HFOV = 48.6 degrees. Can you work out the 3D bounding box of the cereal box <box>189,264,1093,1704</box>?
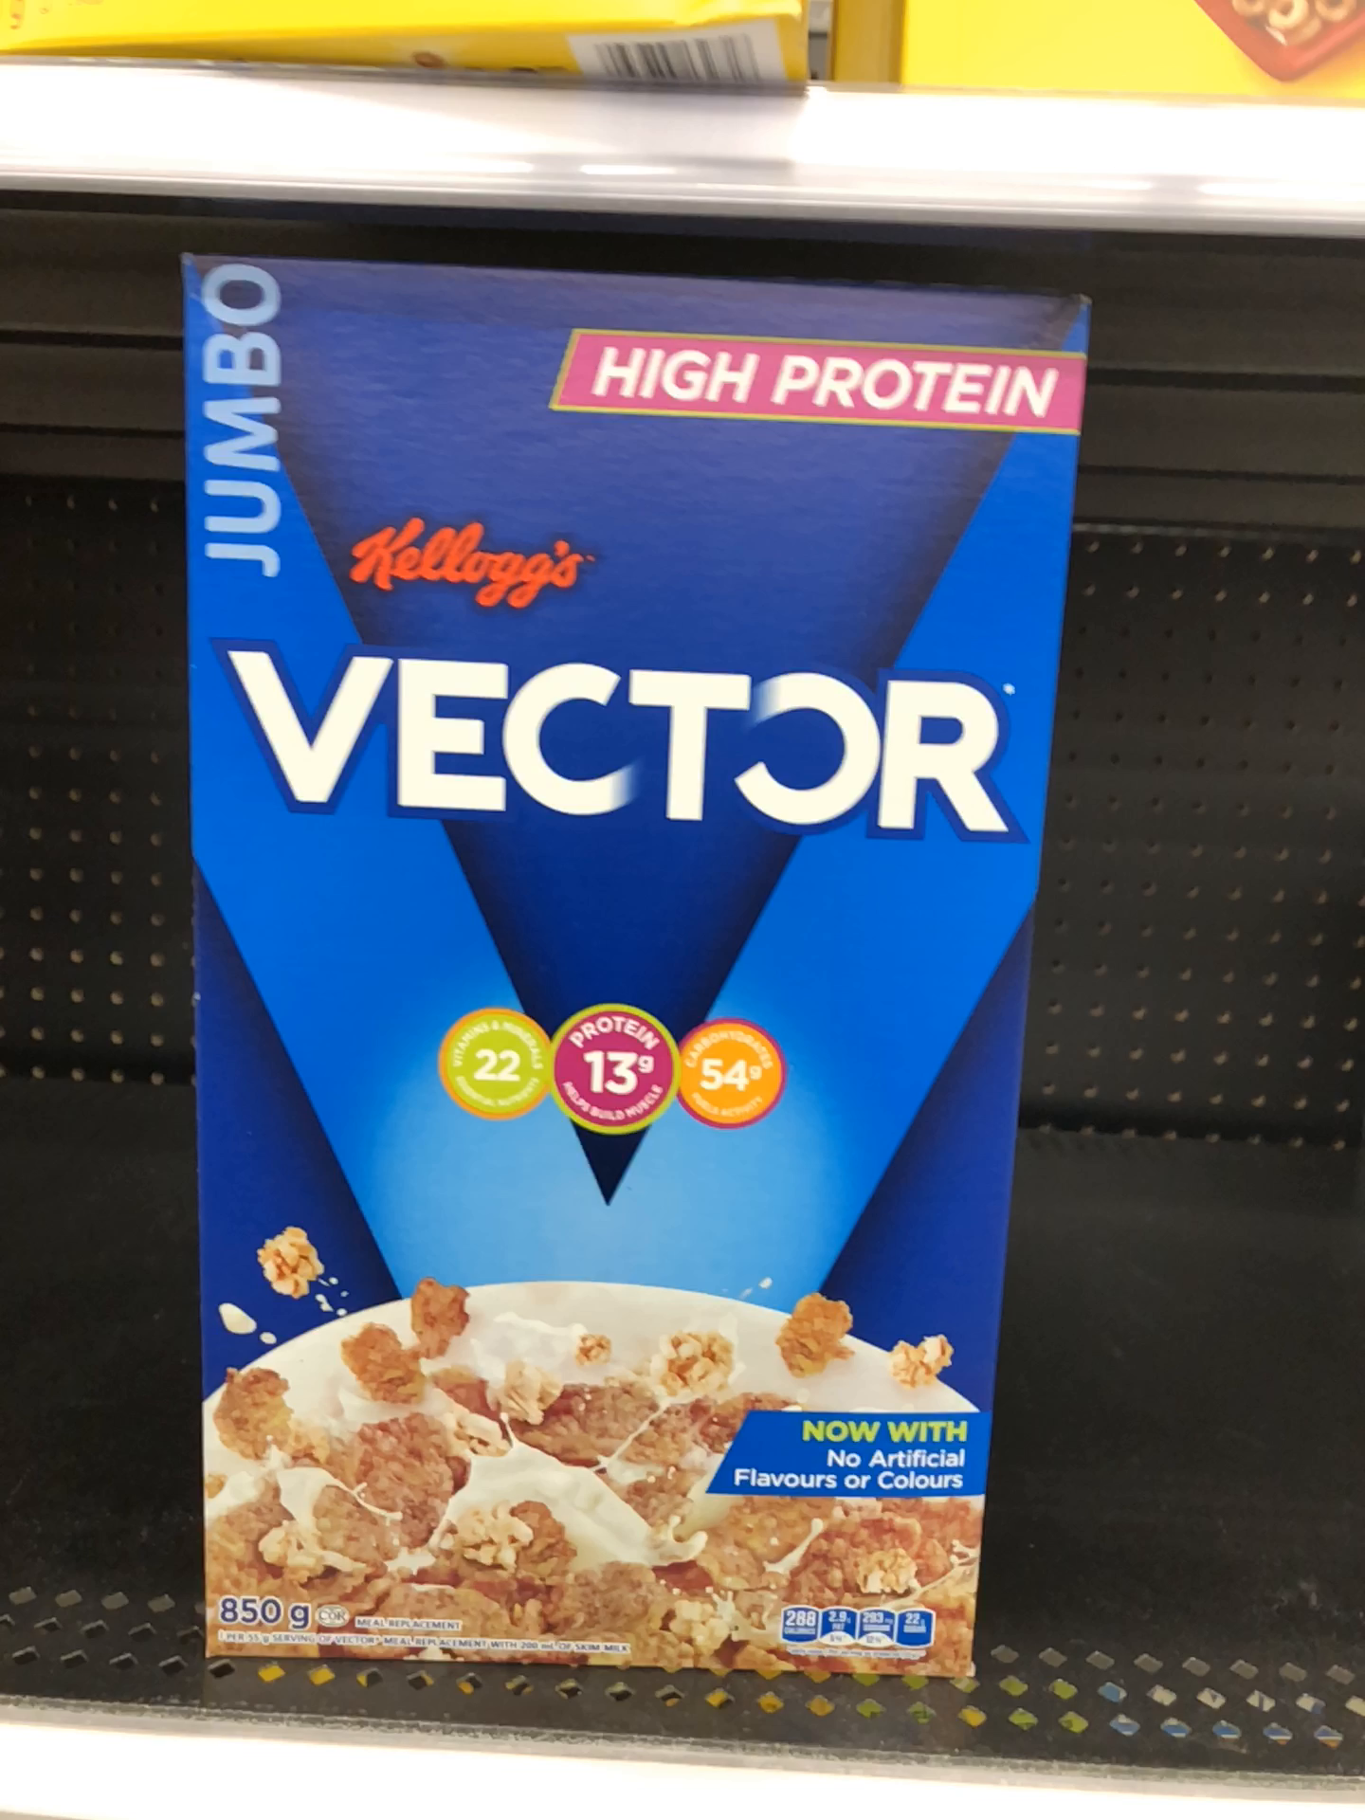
[{"bbox_3d":[-0.017,0.025,0.405,0.200,0.349,0.080,2,10,-1],"label":"cereal box"}]
